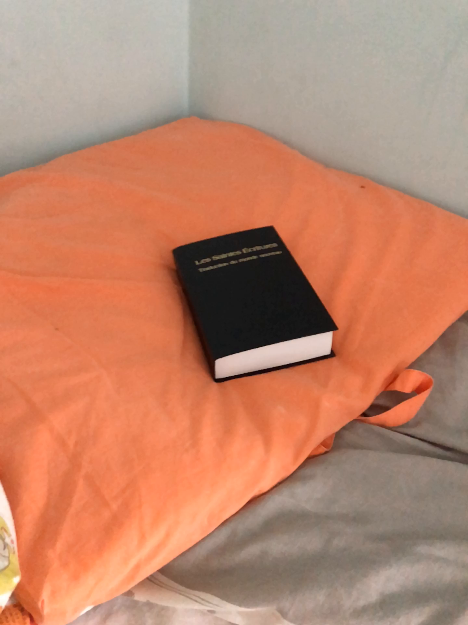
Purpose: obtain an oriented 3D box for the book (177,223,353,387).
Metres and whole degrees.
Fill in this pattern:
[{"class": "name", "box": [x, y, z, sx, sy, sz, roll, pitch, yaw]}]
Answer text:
[{"class": "book", "box": [0.024, -0.017, 0.525, 0.127, 0.030, 0.174, -14, 46, -9]}]
